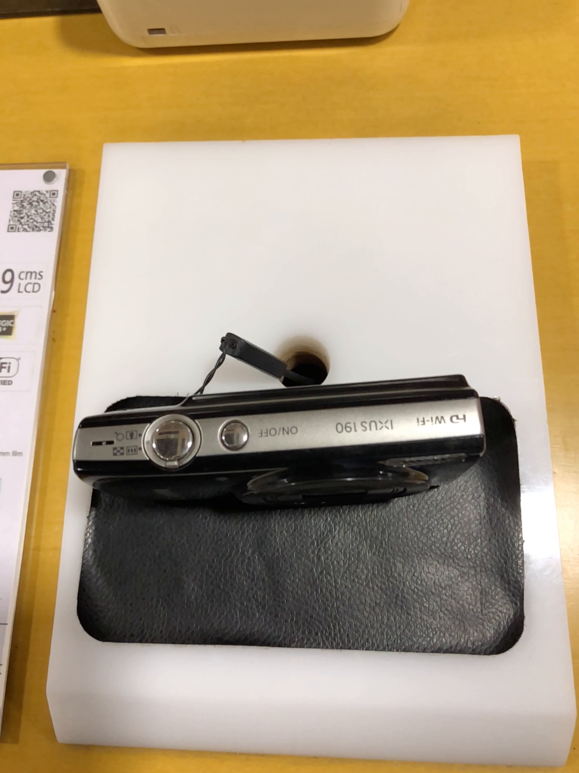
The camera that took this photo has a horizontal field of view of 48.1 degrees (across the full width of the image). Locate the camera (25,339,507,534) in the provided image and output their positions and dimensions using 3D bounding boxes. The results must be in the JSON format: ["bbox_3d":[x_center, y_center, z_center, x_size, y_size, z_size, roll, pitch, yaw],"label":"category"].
[{"bbox_3d":[-0.005,0.016,0.162,0.100,0.050,0.030,-6,74,2],"label":"camera"}]
